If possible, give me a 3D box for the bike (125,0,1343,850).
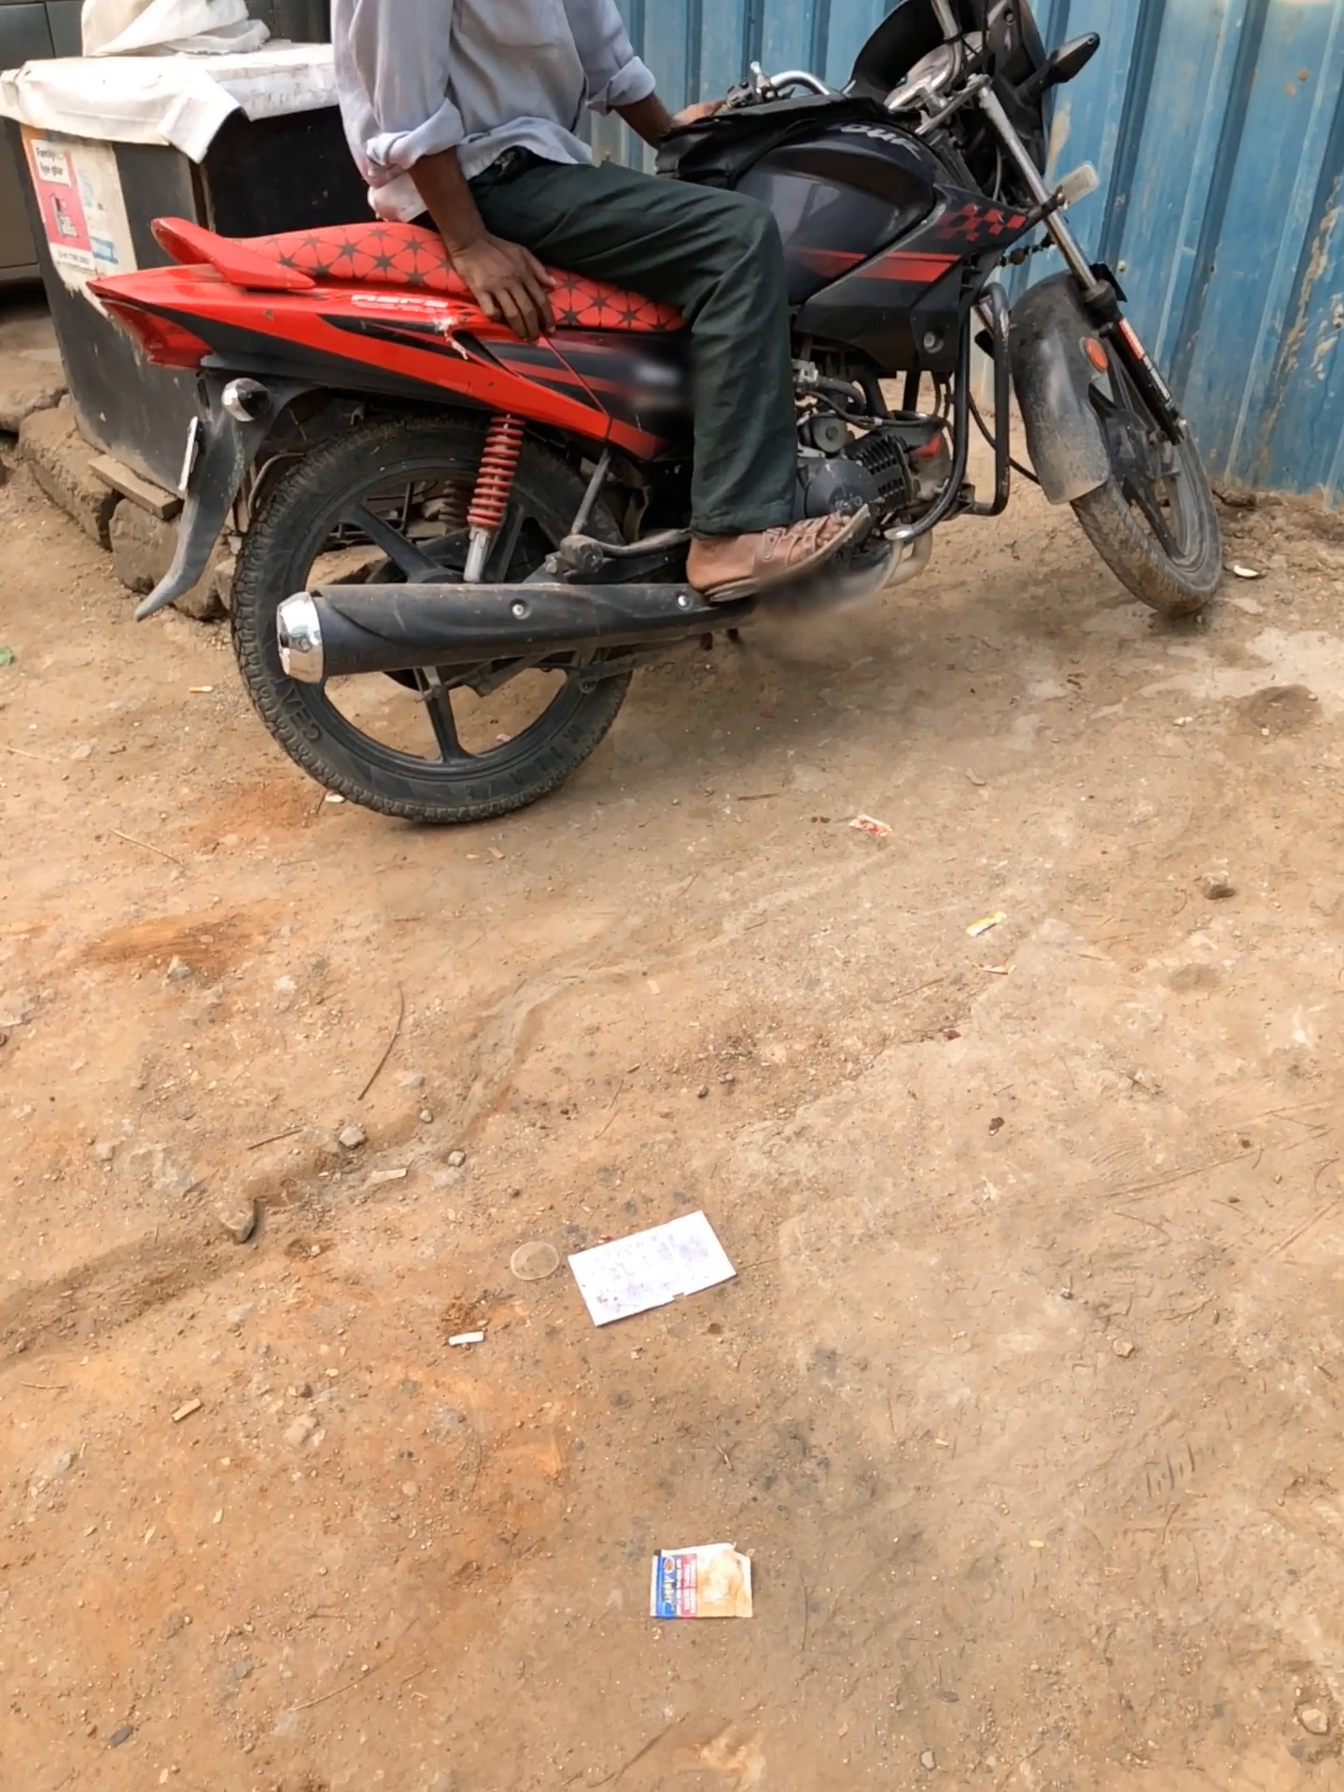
[{"bbox_3d":[0.108,-1.051,2.314,1.634,1.129,0.737,-22,41,-20],"label":"bike"}]
